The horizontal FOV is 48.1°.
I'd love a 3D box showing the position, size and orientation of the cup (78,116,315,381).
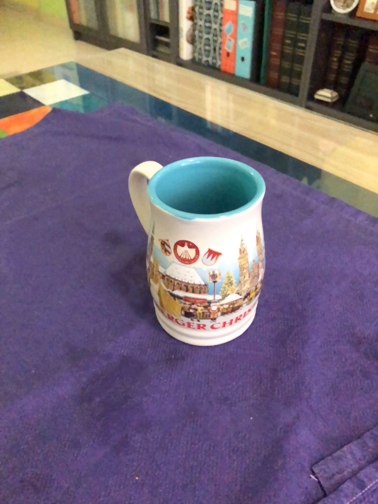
[{"bbox_3d":[0.001,-0.008,0.282,0.080,0.109,0.120,-28,47,-28],"label":"cup"}]
